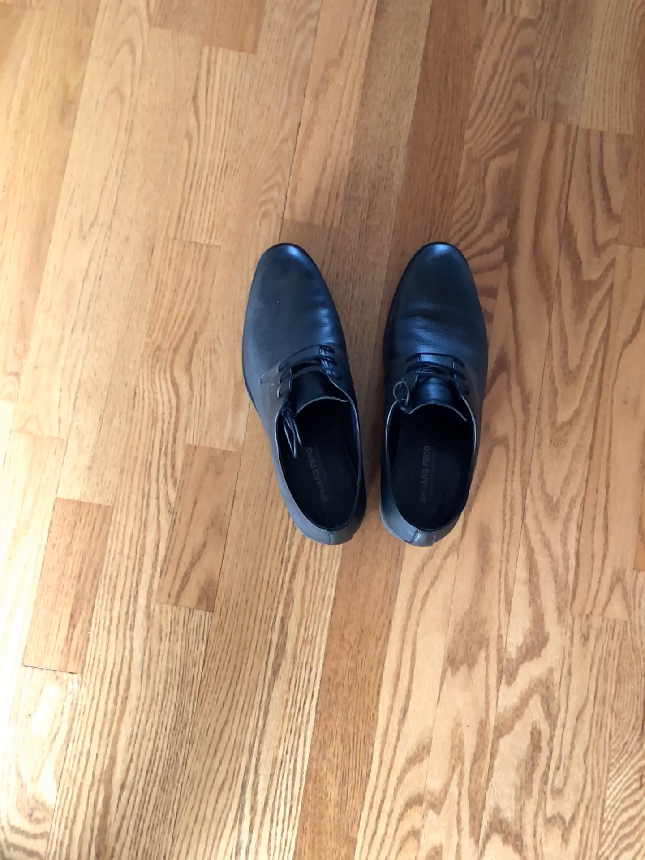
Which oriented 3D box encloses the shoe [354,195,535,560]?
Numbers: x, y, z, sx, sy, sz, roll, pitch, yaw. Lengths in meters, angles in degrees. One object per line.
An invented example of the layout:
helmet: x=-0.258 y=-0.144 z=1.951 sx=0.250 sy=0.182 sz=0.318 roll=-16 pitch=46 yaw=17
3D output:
shoe: x=0.108 y=-0.042 z=0.657 sx=0.110 sy=0.124 sz=0.299 roll=8 pitch=83 yaw=0

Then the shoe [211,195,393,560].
shoe: x=-0.021 y=-0.043 z=0.668 sx=0.110 sy=0.124 sz=0.304 roll=-9 pitch=83 yaw=-2
